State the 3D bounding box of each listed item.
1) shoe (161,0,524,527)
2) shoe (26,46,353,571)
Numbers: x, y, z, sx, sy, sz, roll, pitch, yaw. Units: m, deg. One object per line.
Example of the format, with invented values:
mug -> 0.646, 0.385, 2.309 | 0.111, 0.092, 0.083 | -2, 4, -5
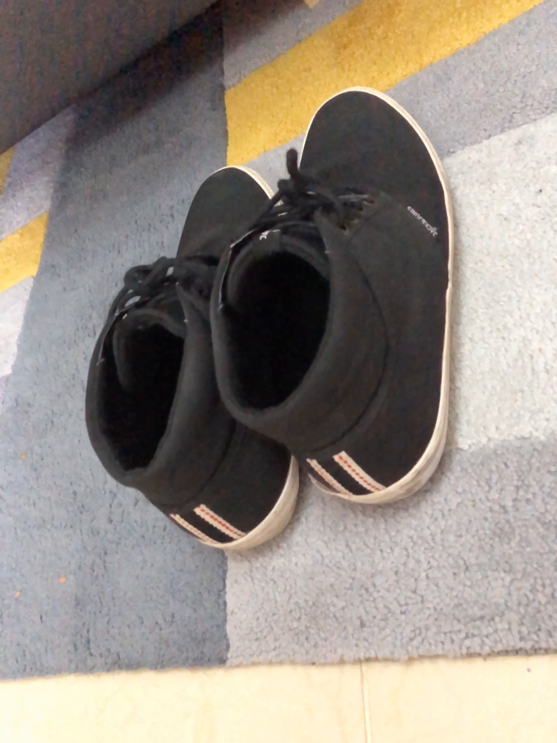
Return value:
shoe -> 0.039, -0.077, 0.340 | 0.110, 0.129, 0.281 | -17, 55, 29
shoe -> -0.045, -0.044, 0.370 | 0.110, 0.109, 0.281 | -22, 53, 26
